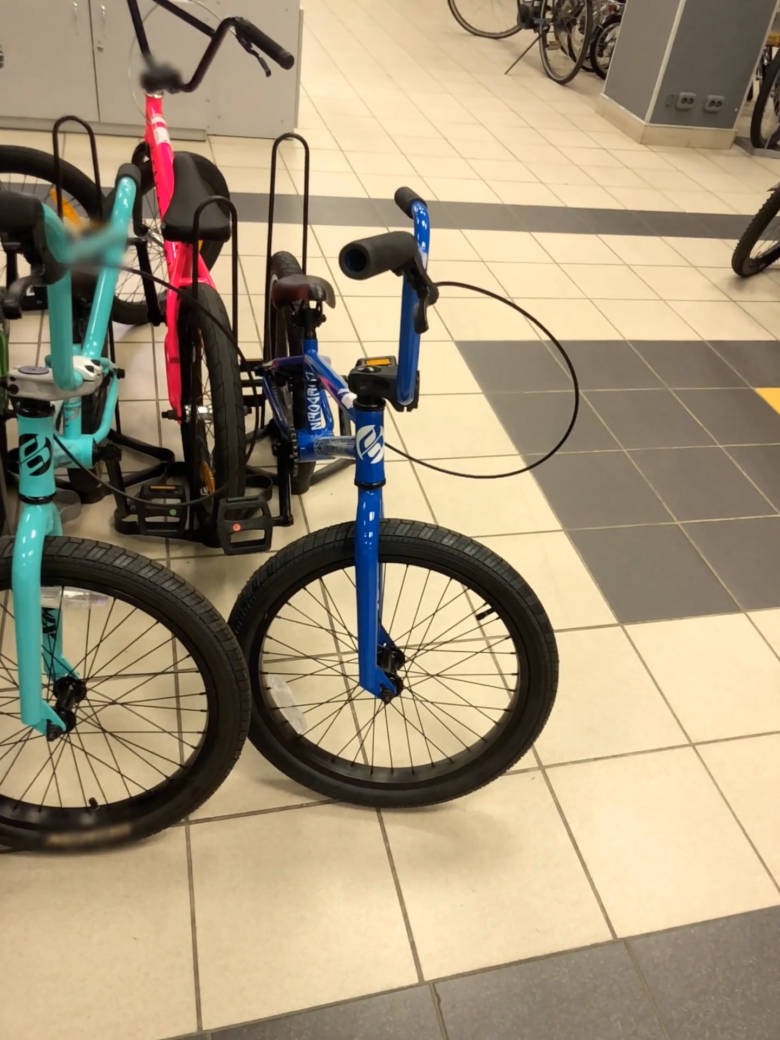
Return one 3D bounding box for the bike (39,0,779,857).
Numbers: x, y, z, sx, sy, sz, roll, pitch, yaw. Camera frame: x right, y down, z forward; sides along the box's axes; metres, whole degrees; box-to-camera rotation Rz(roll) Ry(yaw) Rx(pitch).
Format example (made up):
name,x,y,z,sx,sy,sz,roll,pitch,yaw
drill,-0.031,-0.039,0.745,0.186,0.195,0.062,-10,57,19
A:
name,x,y,z,sx,sy,sz,roll,pitch,yaw
bike,-0.041,-0.283,1.536,0.822,0.961,1.262,-9,41,-22
